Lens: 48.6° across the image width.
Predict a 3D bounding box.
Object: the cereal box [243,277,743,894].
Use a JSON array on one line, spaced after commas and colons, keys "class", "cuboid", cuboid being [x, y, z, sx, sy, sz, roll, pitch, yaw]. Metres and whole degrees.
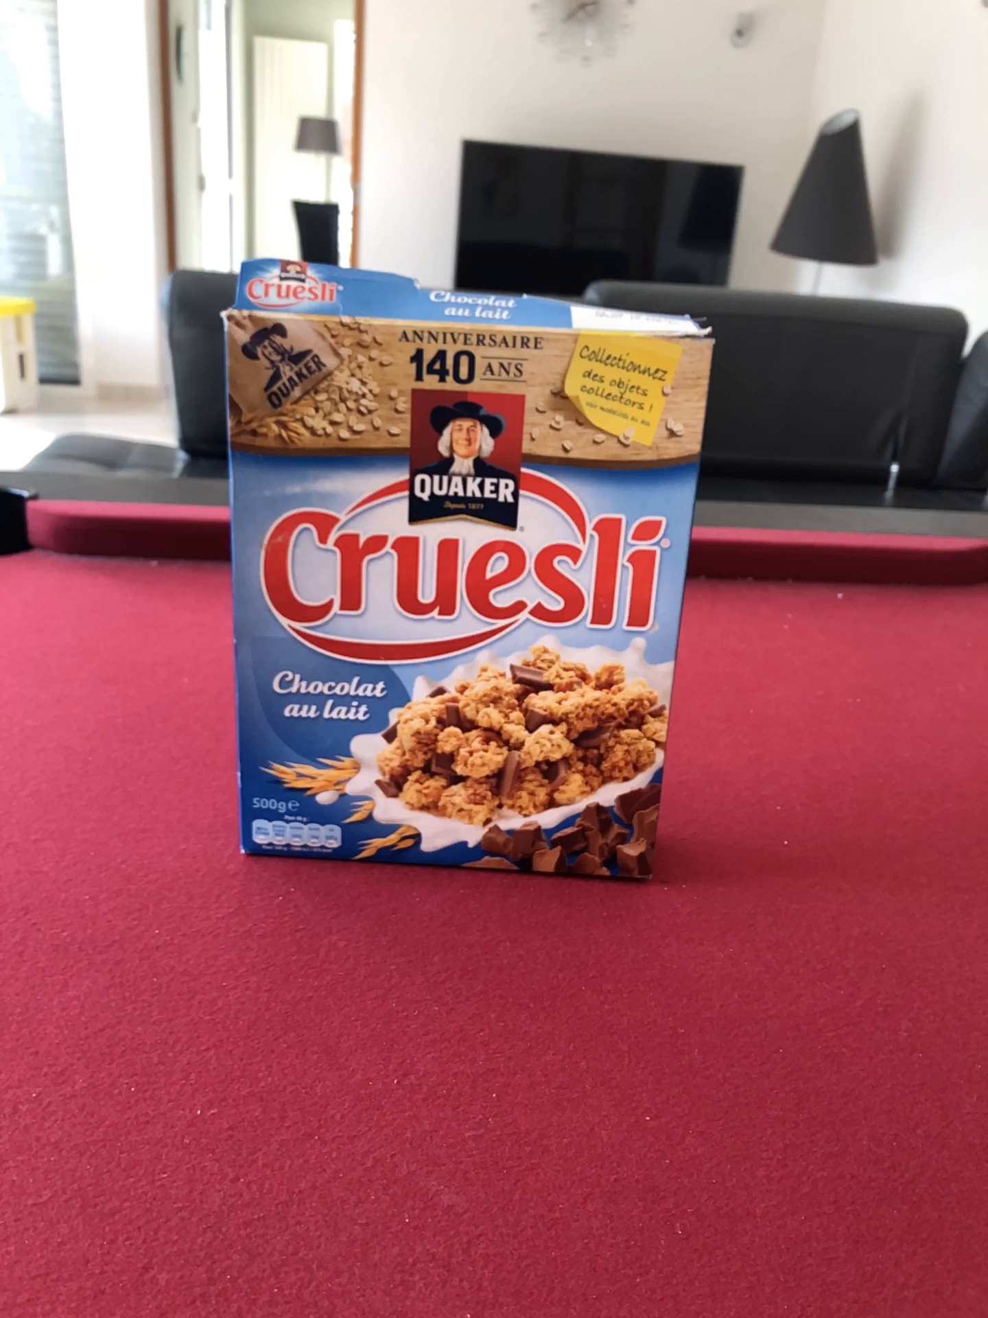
[{"class": "cereal box", "cuboid": [-0.010, -0.024, 0.485, 0.190, 0.259, 0.050, 3, 21, -4]}]
